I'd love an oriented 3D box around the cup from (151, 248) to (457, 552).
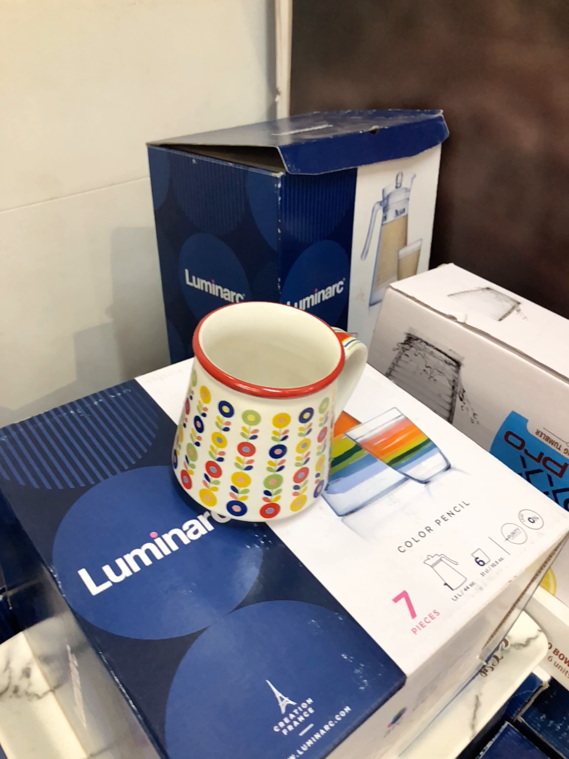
[{"bbox_3d":[0.009,0.004,0.335,0.131,0.089,0.080,-27,51,-34],"label":"cup"}]
